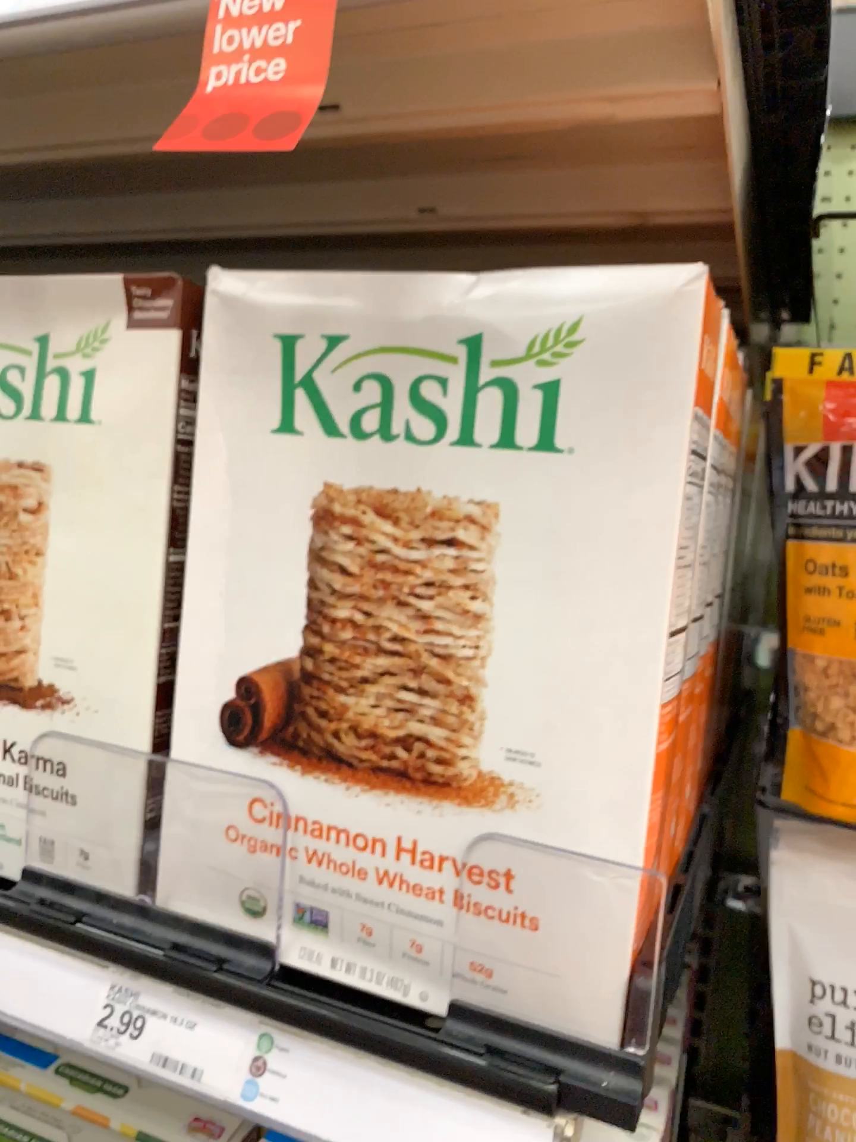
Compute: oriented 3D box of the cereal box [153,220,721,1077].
[{"bbox_3d":[0.000,0.017,0.358,0.190,0.280,0.070,7,3,23],"label":"cereal box"}]
